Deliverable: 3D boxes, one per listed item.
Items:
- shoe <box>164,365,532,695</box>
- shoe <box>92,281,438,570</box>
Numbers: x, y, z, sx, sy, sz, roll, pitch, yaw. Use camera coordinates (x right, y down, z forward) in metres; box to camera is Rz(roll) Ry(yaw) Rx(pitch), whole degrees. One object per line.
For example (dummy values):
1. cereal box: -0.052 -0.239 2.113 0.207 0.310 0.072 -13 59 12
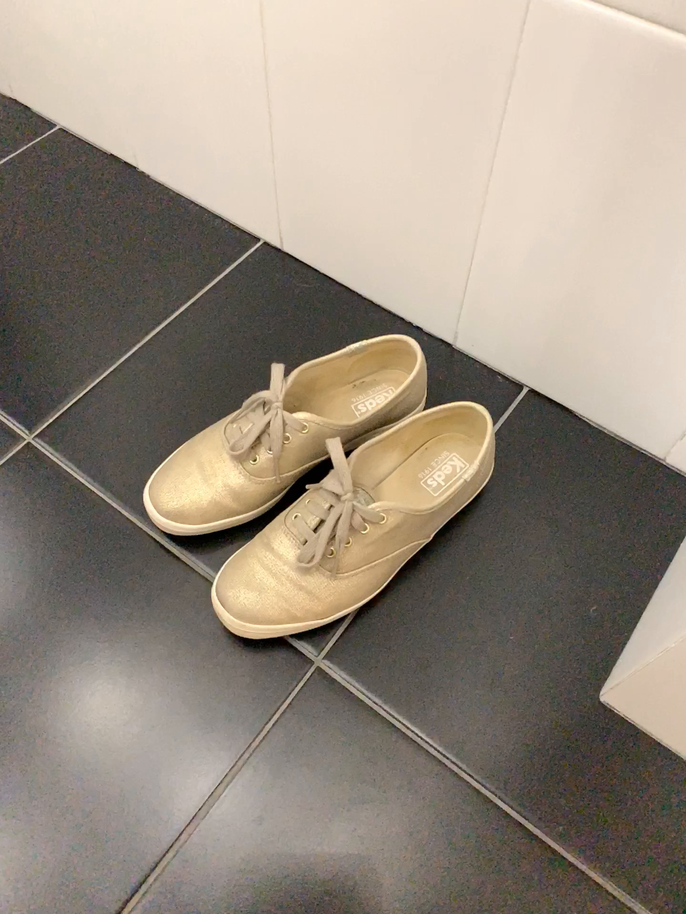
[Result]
1. shoe: 0.007 0.048 0.496 0.230 0.100 0.090 -32 64 -19
2. shoe: -0.052 -0.027 0.539 0.230 0.100 0.090 -29 63 -18
